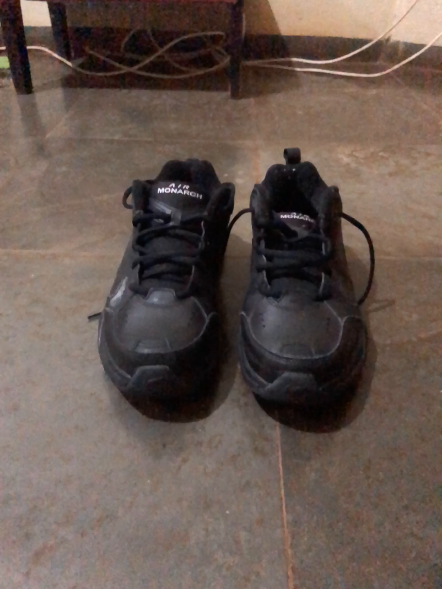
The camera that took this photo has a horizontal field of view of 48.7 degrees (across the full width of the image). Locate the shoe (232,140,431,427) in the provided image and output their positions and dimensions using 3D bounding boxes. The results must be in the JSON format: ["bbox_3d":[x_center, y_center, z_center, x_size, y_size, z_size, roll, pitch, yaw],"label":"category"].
[{"bbox_3d":[0.077,-0.037,0.458,0.120,0.109,0.302,3,37,1],"label":"shoe"}]

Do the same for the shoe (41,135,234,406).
[{"bbox_3d":[-0.051,-0.045,0.454,0.120,0.109,0.282,2,37,0],"label":"shoe"}]
